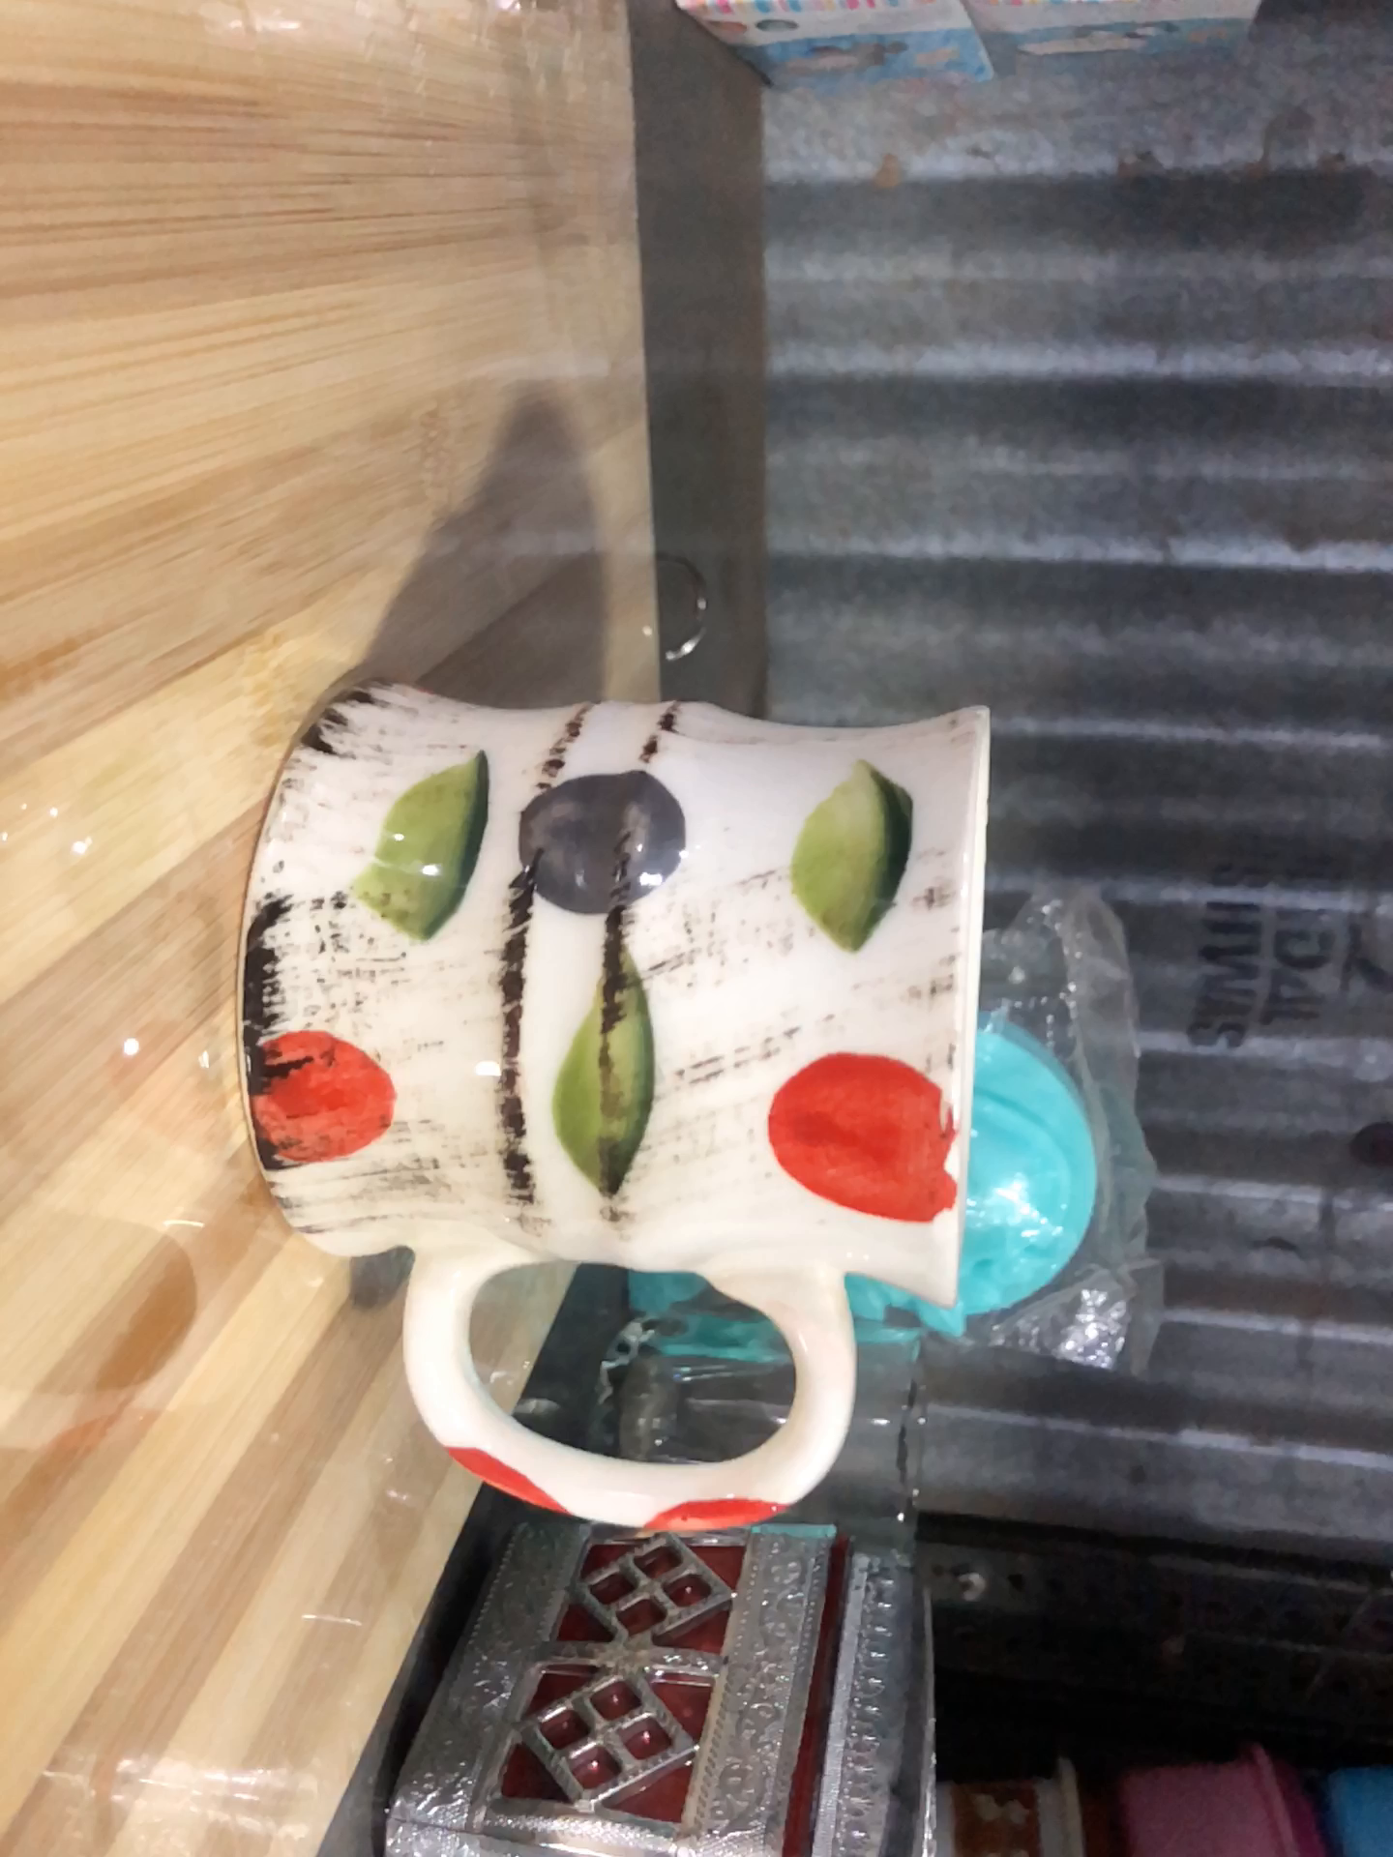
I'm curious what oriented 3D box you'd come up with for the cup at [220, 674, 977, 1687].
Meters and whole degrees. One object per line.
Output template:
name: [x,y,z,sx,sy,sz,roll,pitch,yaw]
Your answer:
cup: [-0.007,0.025,0.203,0.060,0.080,0.110,-50,142,-74]
